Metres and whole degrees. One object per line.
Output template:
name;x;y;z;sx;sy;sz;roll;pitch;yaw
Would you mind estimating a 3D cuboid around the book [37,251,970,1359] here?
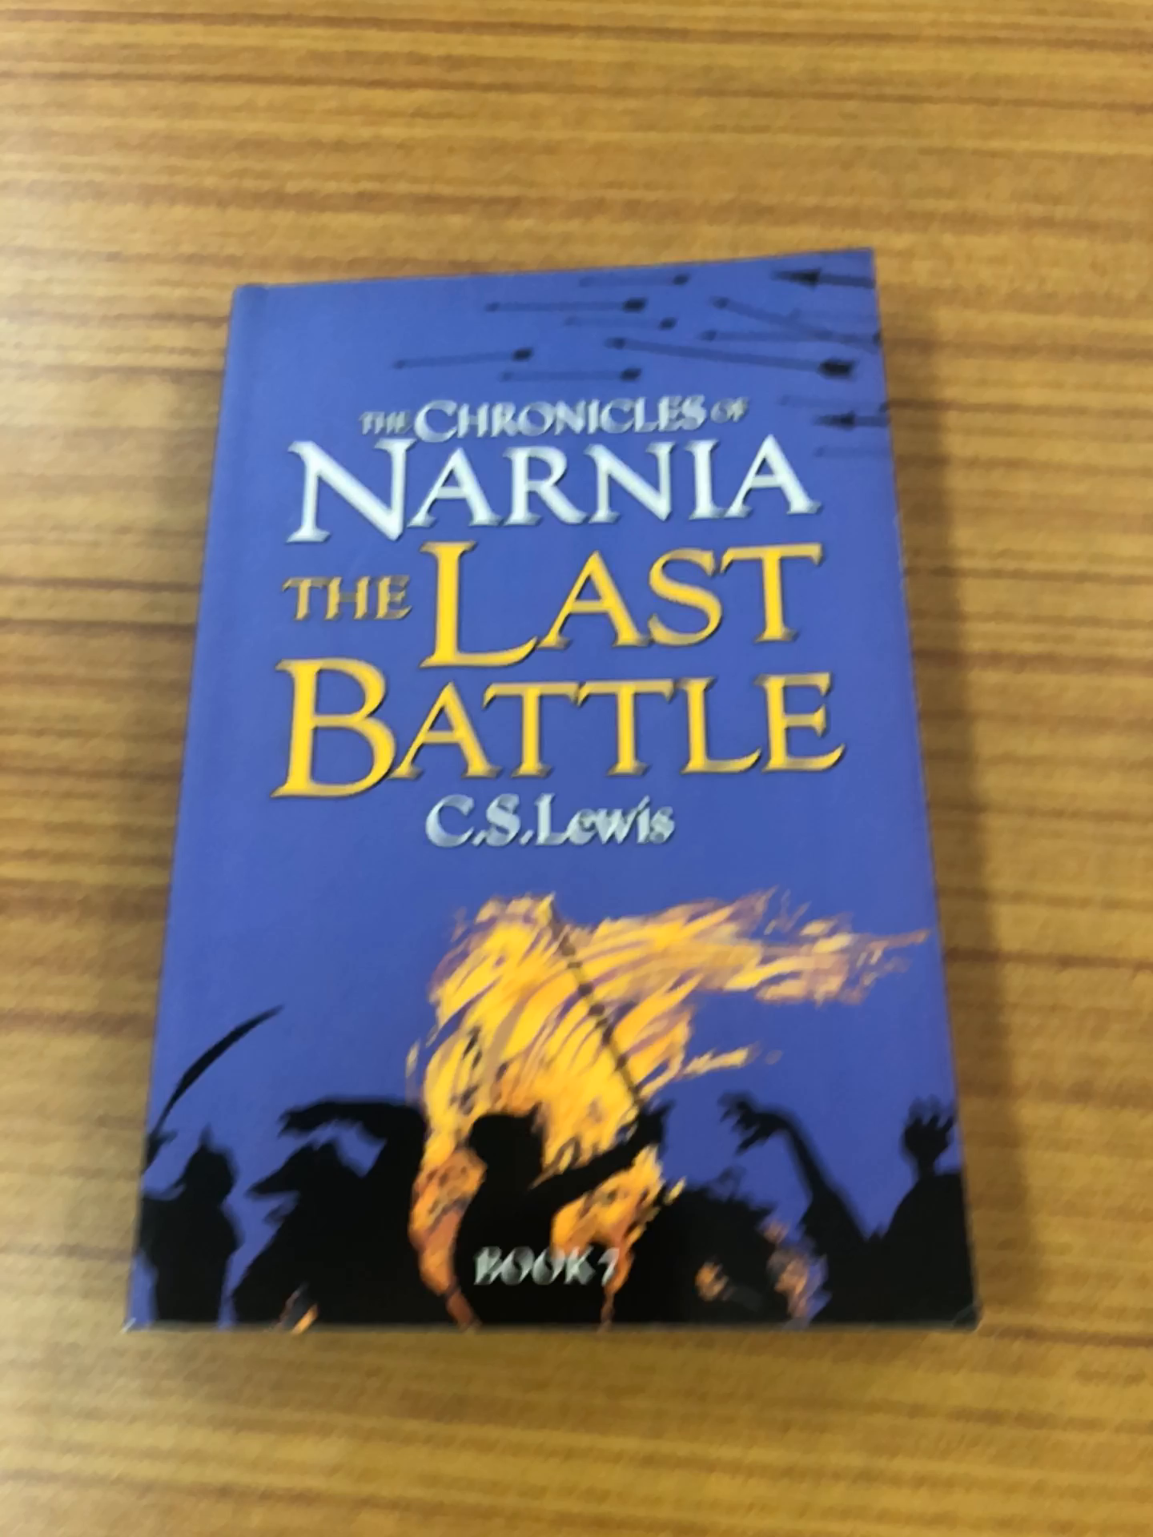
book;-0.012;-0.002;0.242;0.140;0.030;0.200;-1;71;2
